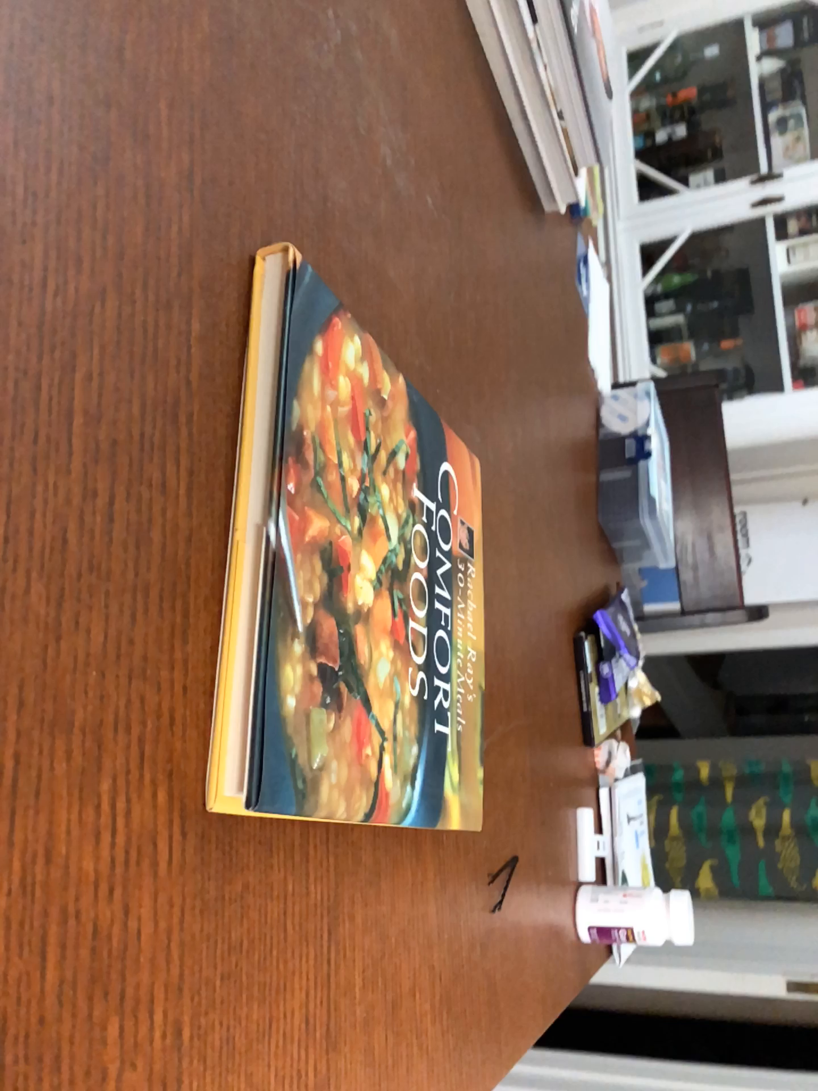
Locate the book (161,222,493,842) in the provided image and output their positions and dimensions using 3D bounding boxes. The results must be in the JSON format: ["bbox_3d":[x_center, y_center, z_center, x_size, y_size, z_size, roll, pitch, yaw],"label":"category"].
[{"bbox_3d":[-0.013,0.016,0.378,0.211,0.030,0.200,38,50,-60],"label":"book"}]
